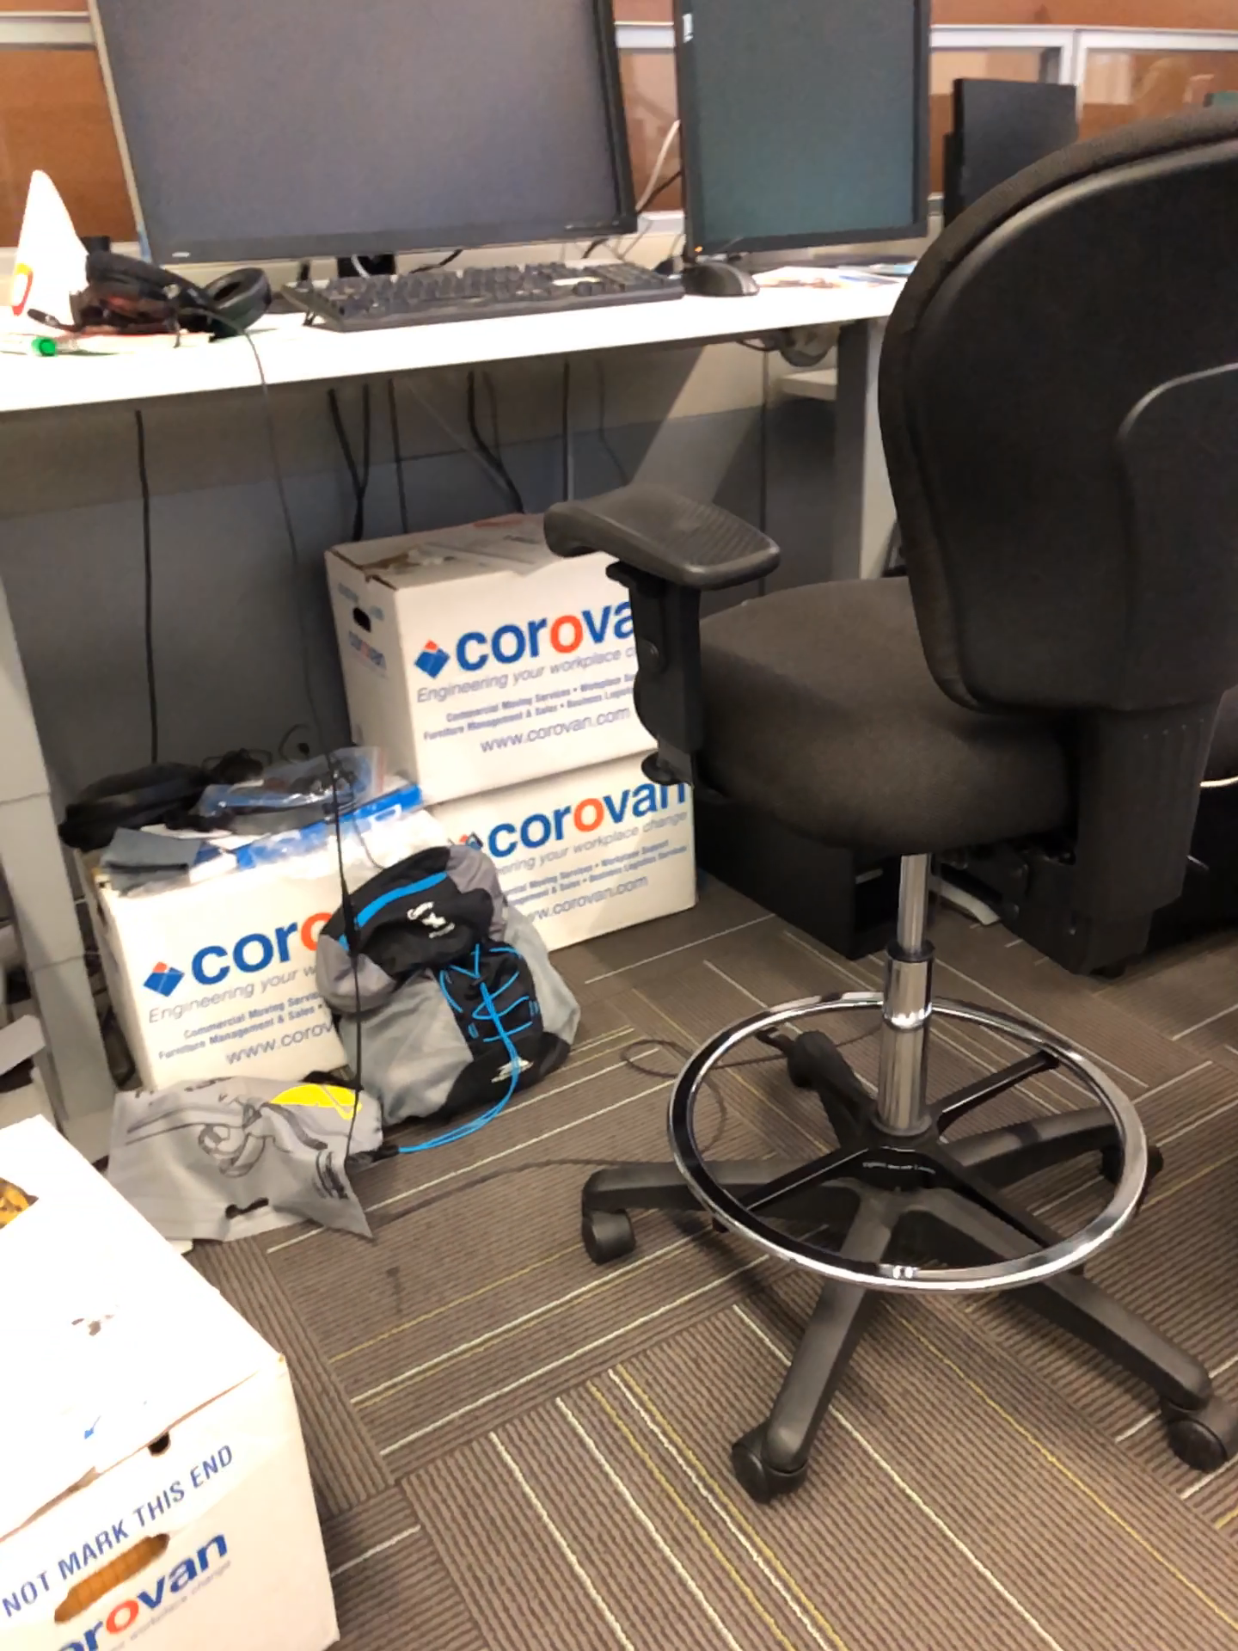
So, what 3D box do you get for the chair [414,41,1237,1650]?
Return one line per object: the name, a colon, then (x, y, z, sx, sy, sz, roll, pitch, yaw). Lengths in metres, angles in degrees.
chair: (0.298, -0.037, 1.260, 0.641, 1.134, 0.733, -15, 27, -24)
